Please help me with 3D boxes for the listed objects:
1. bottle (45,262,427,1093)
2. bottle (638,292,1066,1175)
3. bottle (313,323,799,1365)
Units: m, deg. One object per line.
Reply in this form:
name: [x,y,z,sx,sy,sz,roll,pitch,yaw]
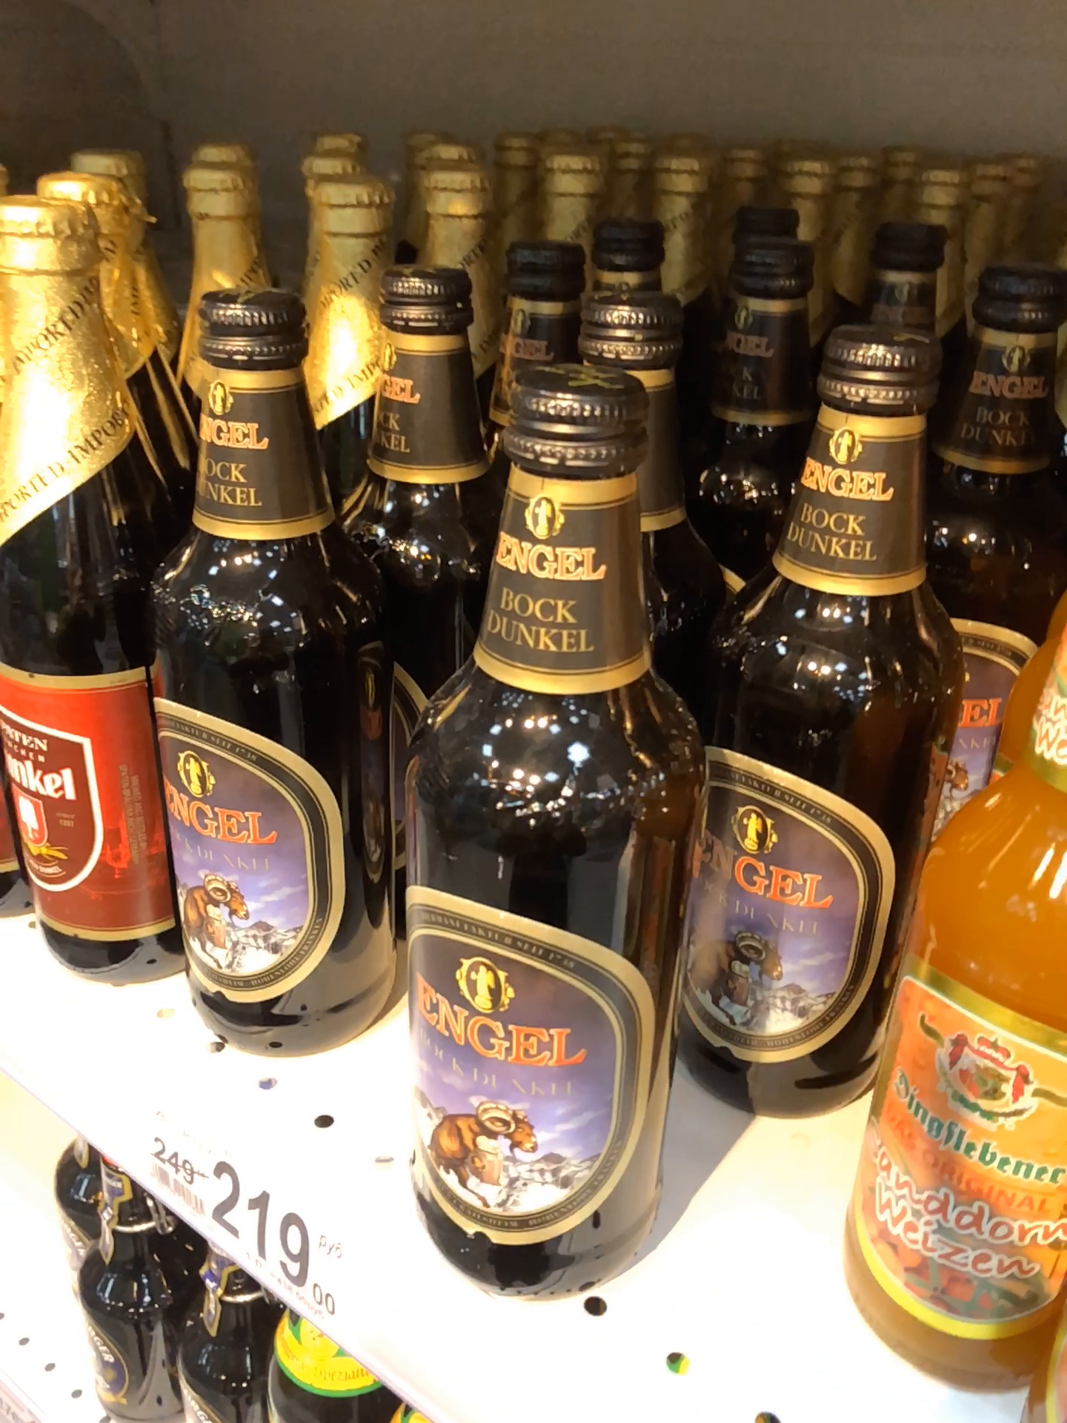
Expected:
bottle: [-0.079,-0.005,0.354,0.070,0.233,0.061,18,32,27]
bottle: [0.086,0.010,0.337,0.069,0.233,0.070,2,28,-1]
bottle: [0.002,0.037,0.274,0.070,0.229,0.061,18,31,27]
